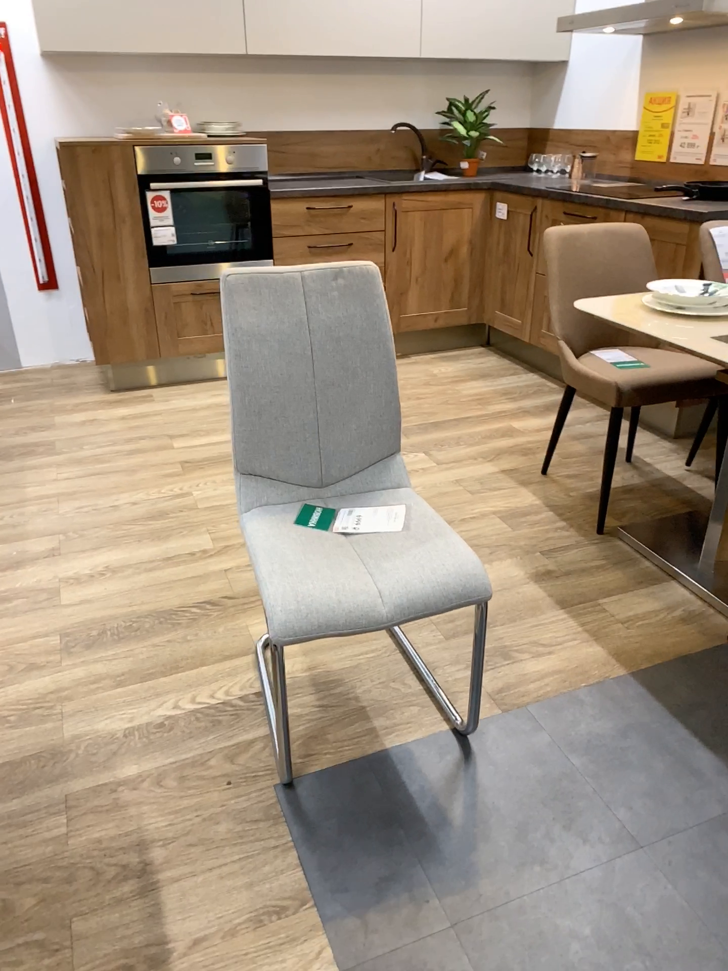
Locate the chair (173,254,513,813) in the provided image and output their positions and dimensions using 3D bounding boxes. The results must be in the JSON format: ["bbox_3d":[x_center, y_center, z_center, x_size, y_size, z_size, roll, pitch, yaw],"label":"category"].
[{"bbox_3d":[-0.074,0.066,1.615,0.491,0.984,0.573,-9,27,-17],"label":"chair"}]
